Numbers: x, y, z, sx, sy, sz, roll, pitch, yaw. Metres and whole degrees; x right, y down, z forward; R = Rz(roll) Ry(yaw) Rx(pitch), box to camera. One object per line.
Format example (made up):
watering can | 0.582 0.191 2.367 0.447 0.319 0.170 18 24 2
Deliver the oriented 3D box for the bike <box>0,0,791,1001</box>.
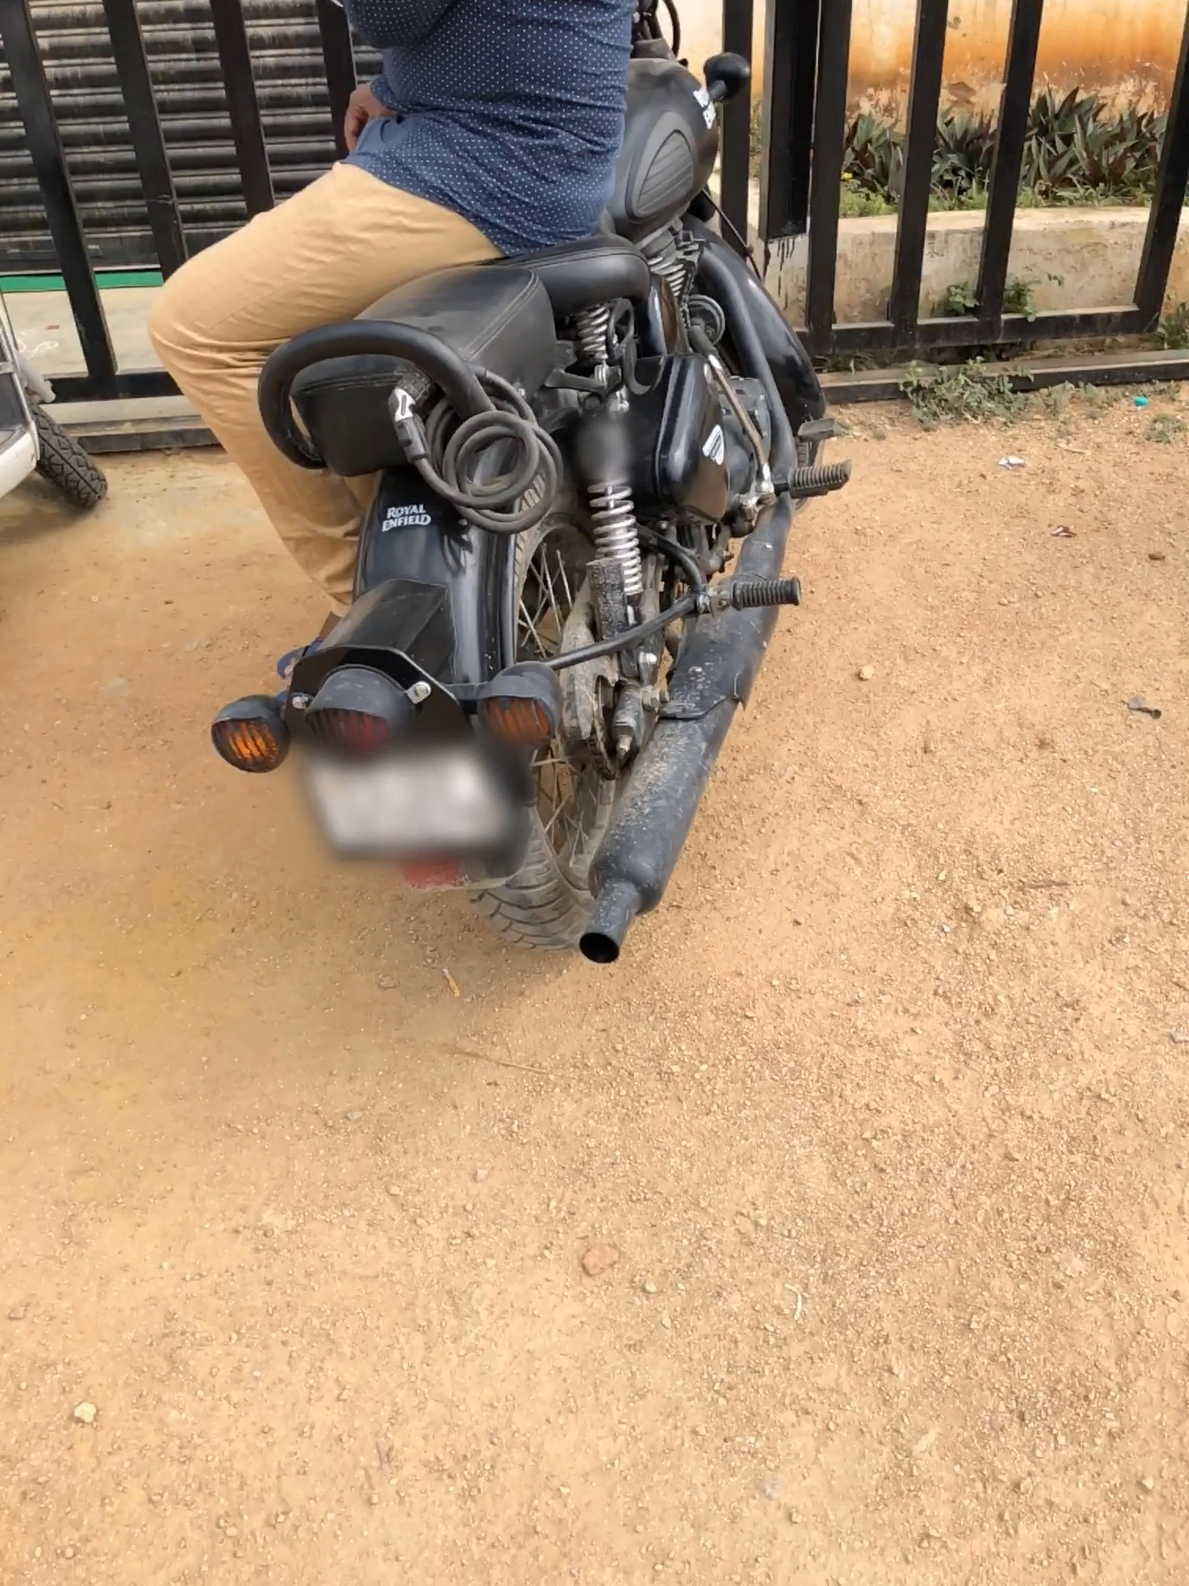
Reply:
bike | -0.169 -0.898 1.963 0.722 1.169 1.817 0 41 4
